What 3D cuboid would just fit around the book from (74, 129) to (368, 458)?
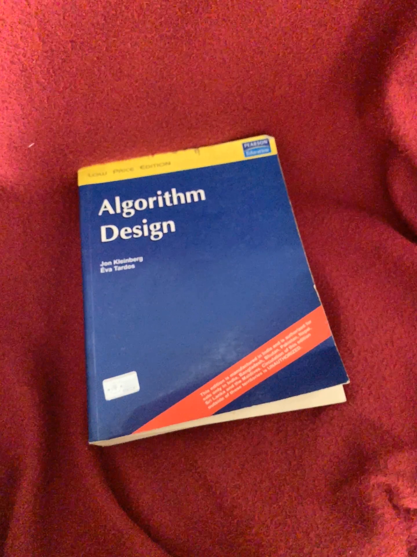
[{"bbox_3d":[-0.005,0.001,0.375,0.190,0.060,0.251,-10,66,-4],"label":"book"}]
